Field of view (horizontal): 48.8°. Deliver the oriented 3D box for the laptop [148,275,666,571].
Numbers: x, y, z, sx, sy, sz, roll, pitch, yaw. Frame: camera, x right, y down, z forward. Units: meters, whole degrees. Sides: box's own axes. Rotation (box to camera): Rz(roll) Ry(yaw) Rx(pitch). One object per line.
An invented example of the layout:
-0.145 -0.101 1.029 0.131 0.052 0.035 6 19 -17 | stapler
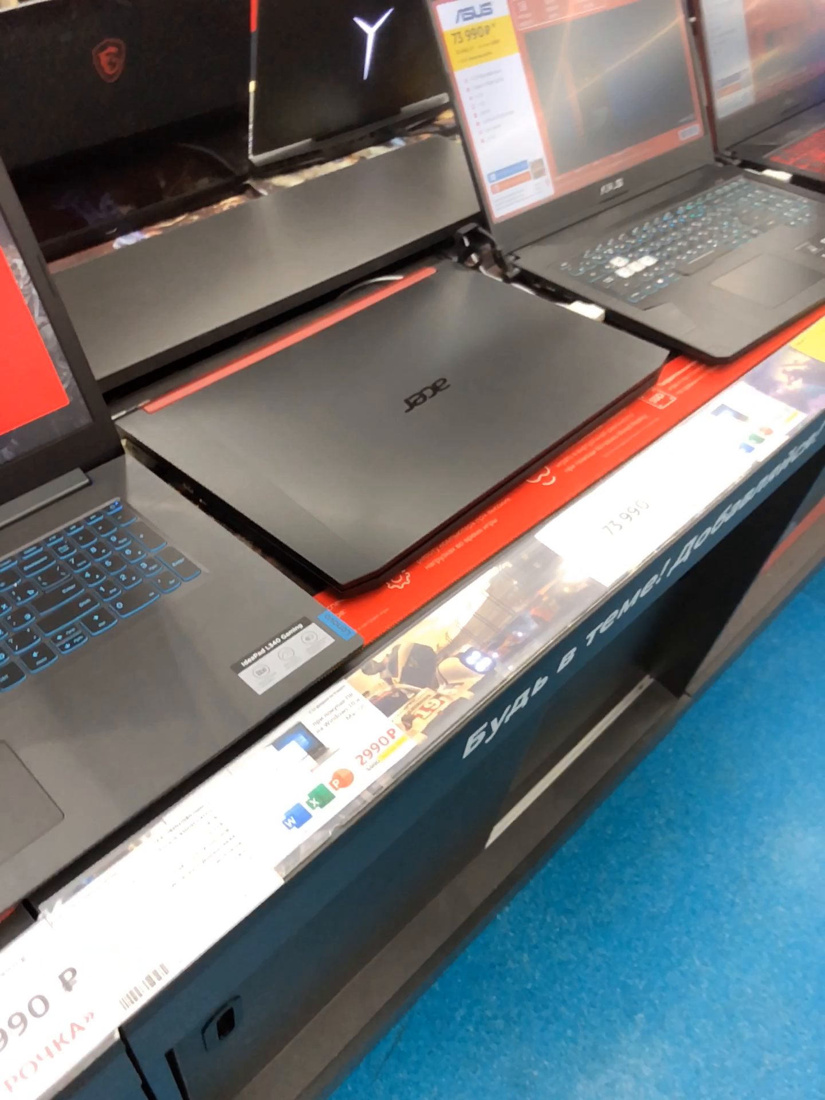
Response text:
0.008 -0.135 0.769 0.255 0.002 0.371 30 49 29 | laptop
